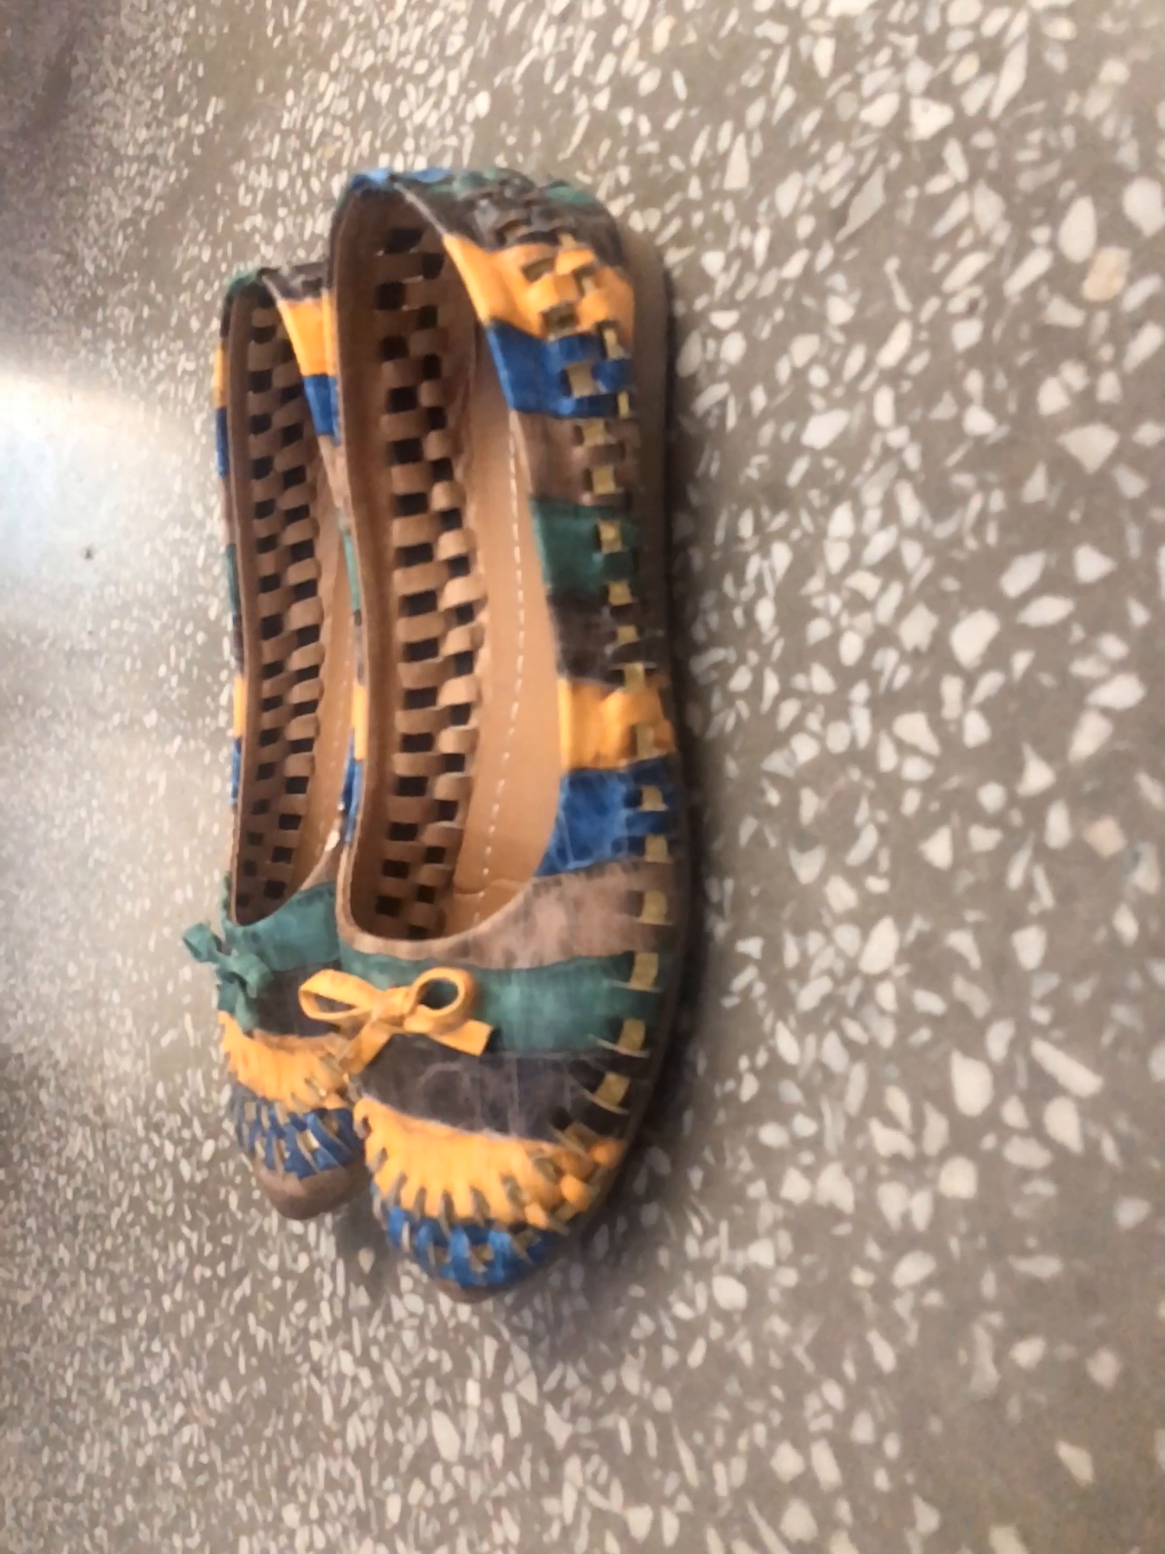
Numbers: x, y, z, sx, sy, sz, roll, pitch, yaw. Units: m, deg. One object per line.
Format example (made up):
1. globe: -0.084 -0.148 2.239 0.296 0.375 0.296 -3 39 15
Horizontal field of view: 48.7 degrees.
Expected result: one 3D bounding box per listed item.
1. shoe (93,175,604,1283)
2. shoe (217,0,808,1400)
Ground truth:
1. shoe: -0.063 -0.010 0.332 0.090 0.073 0.237 6 90 53
2. shoe: -0.016 -0.014 0.272 0.090 0.073 0.237 -2 84 52
